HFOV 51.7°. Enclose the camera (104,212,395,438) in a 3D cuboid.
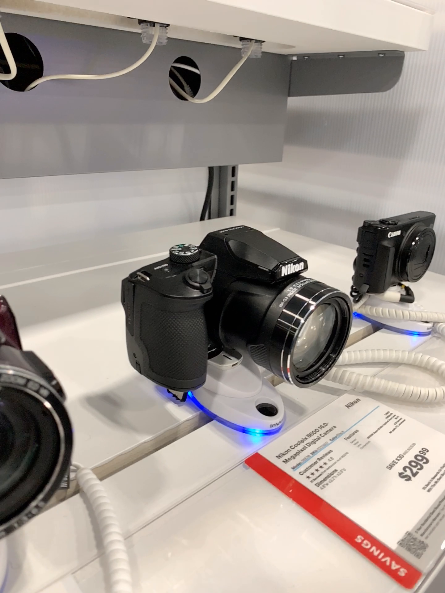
[{"bbox_3d":[0.017,0.001,0.279,0.110,0.070,0.130,22,29,39],"label":"camera"}]
